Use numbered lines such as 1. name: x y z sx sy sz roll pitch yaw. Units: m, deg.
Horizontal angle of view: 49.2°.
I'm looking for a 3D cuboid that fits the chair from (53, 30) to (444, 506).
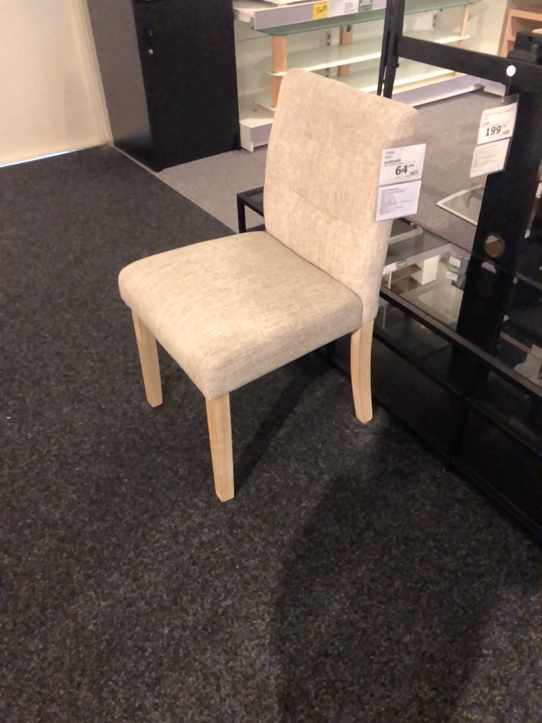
1. chair: -0.060 -0.235 1.423 0.562 0.855 0.551 -22 44 -24
